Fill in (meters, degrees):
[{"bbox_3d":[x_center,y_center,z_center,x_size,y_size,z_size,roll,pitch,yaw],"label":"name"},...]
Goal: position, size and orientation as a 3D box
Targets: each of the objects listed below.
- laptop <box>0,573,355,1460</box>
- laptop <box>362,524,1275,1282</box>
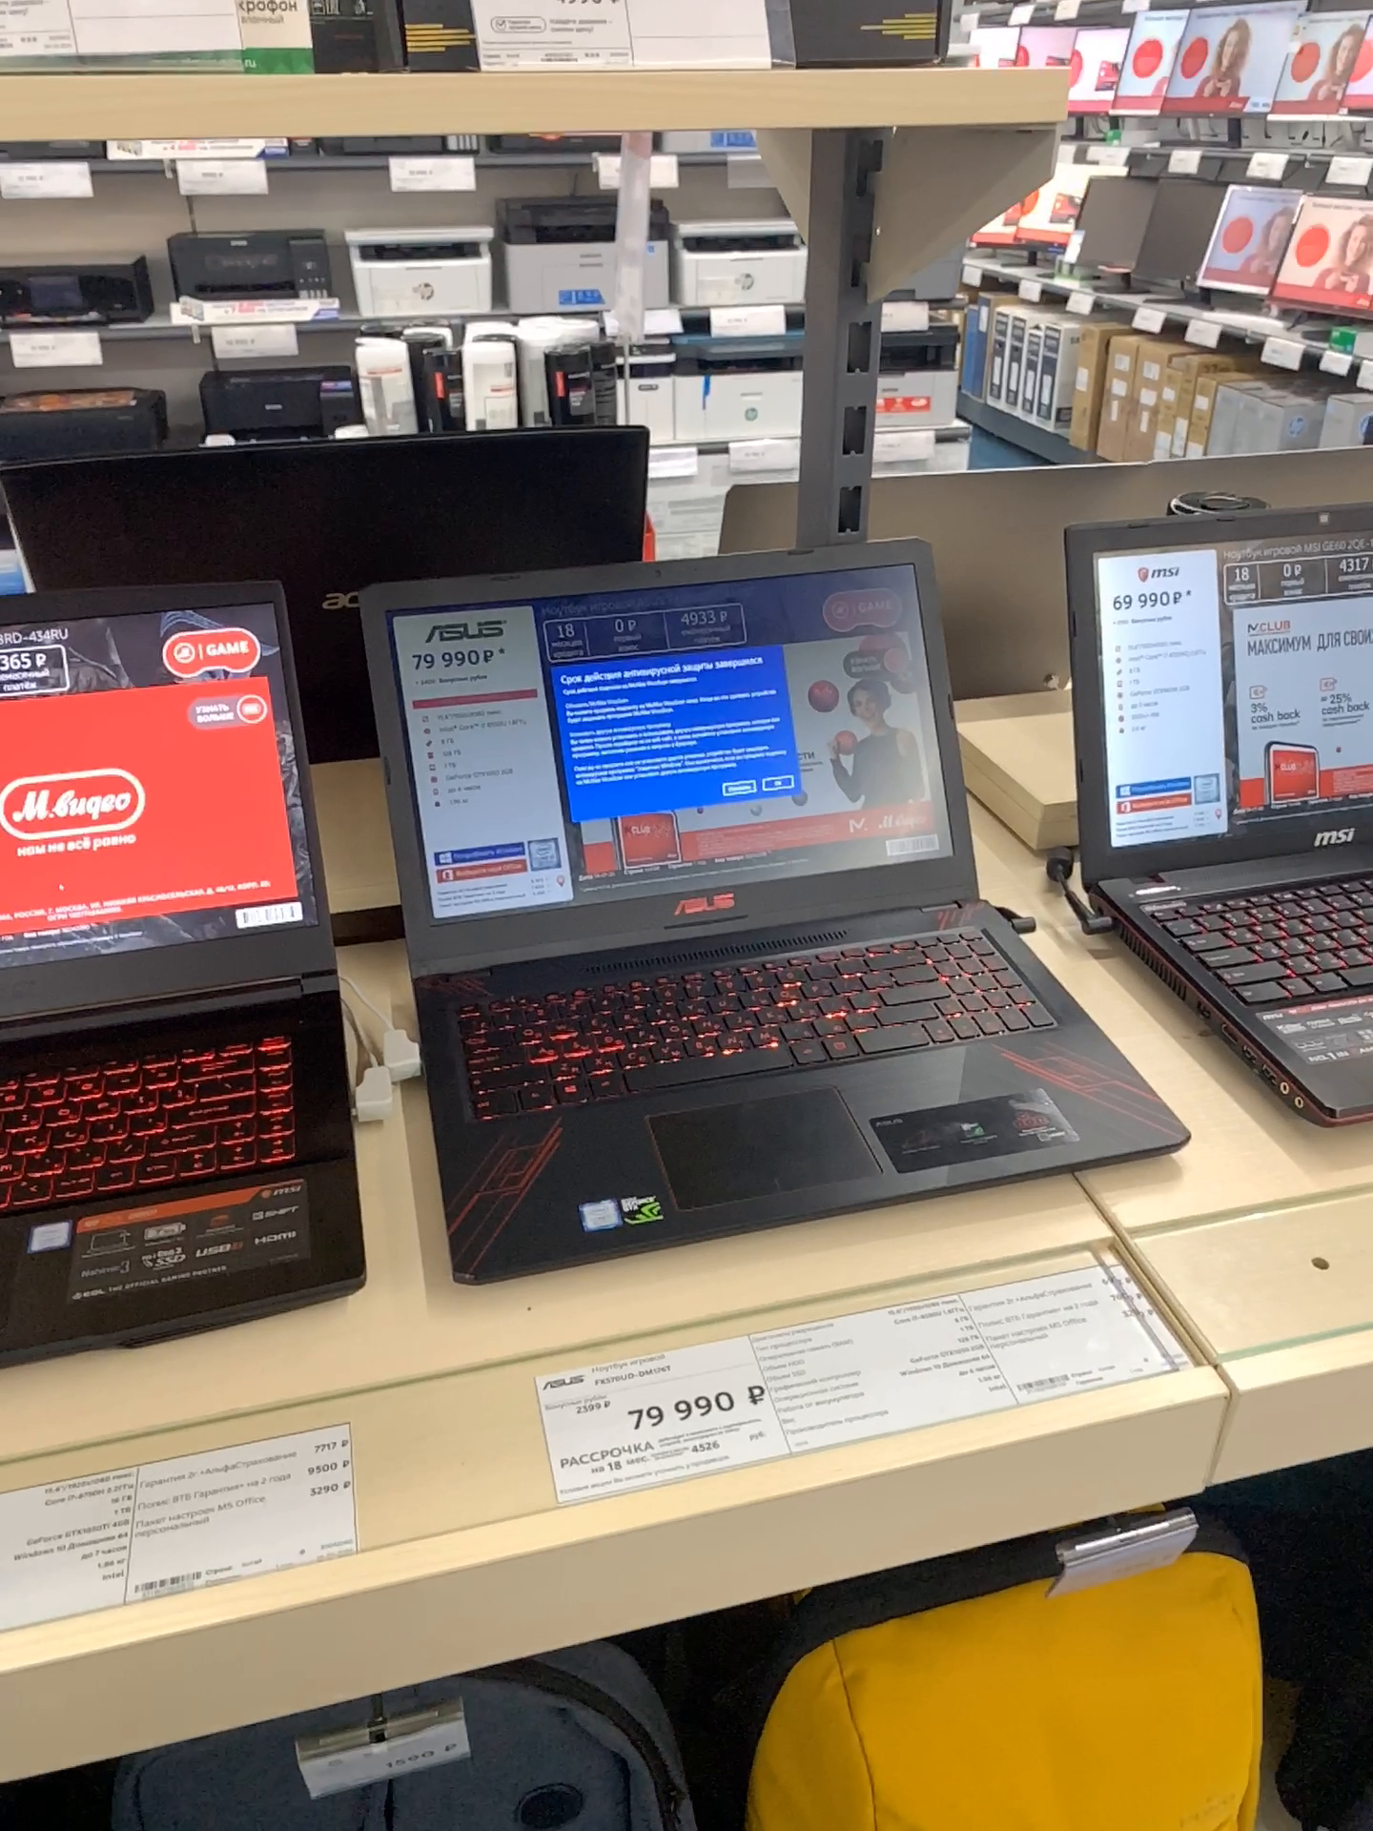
[{"bbox_3d":[-0.351,0.005,0.677,0.338,0.209,0.354,-7,31,-13],"label":"laptop"},{"bbox_3d":[0.028,-0.047,0.772,0.365,0.199,0.384,-8,32,-11],"label":"laptop"}]
